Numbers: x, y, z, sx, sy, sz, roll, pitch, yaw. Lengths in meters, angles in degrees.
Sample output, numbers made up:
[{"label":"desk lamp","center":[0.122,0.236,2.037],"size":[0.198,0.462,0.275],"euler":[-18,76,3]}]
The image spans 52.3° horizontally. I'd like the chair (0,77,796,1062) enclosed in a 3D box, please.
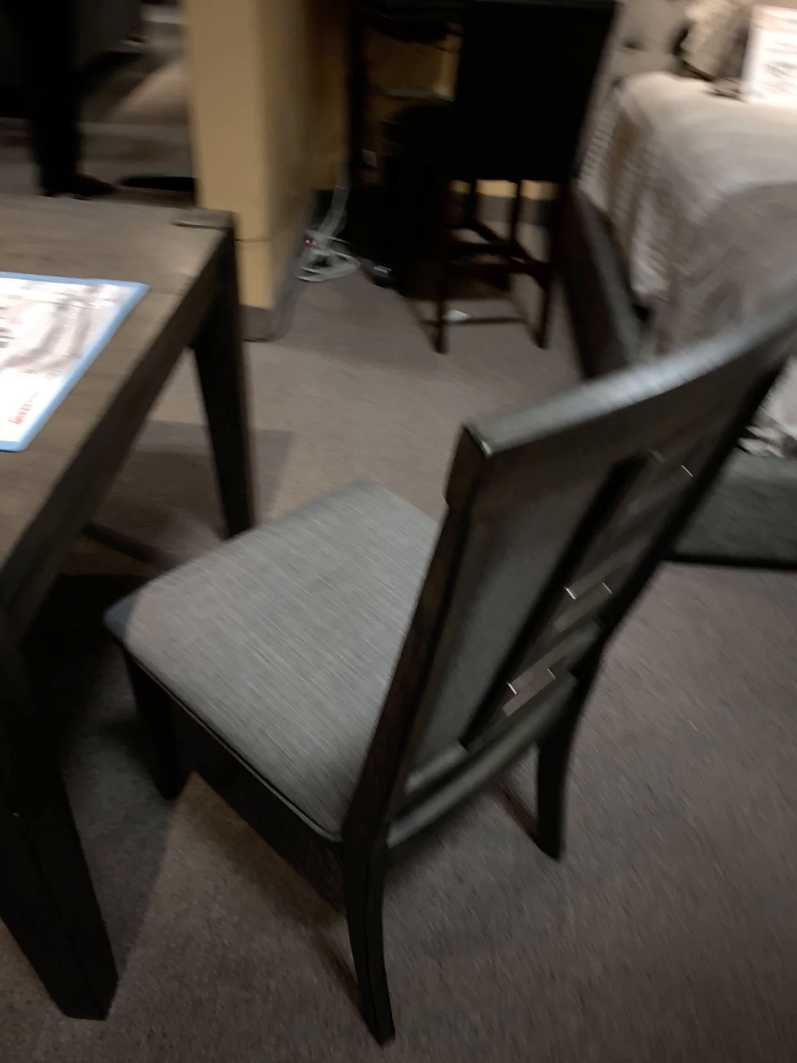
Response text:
[{"label":"chair","center":[-0.026,0.086,1.006],"size":[0.644,0.997,0.516],"euler":[33,48,30]}]
